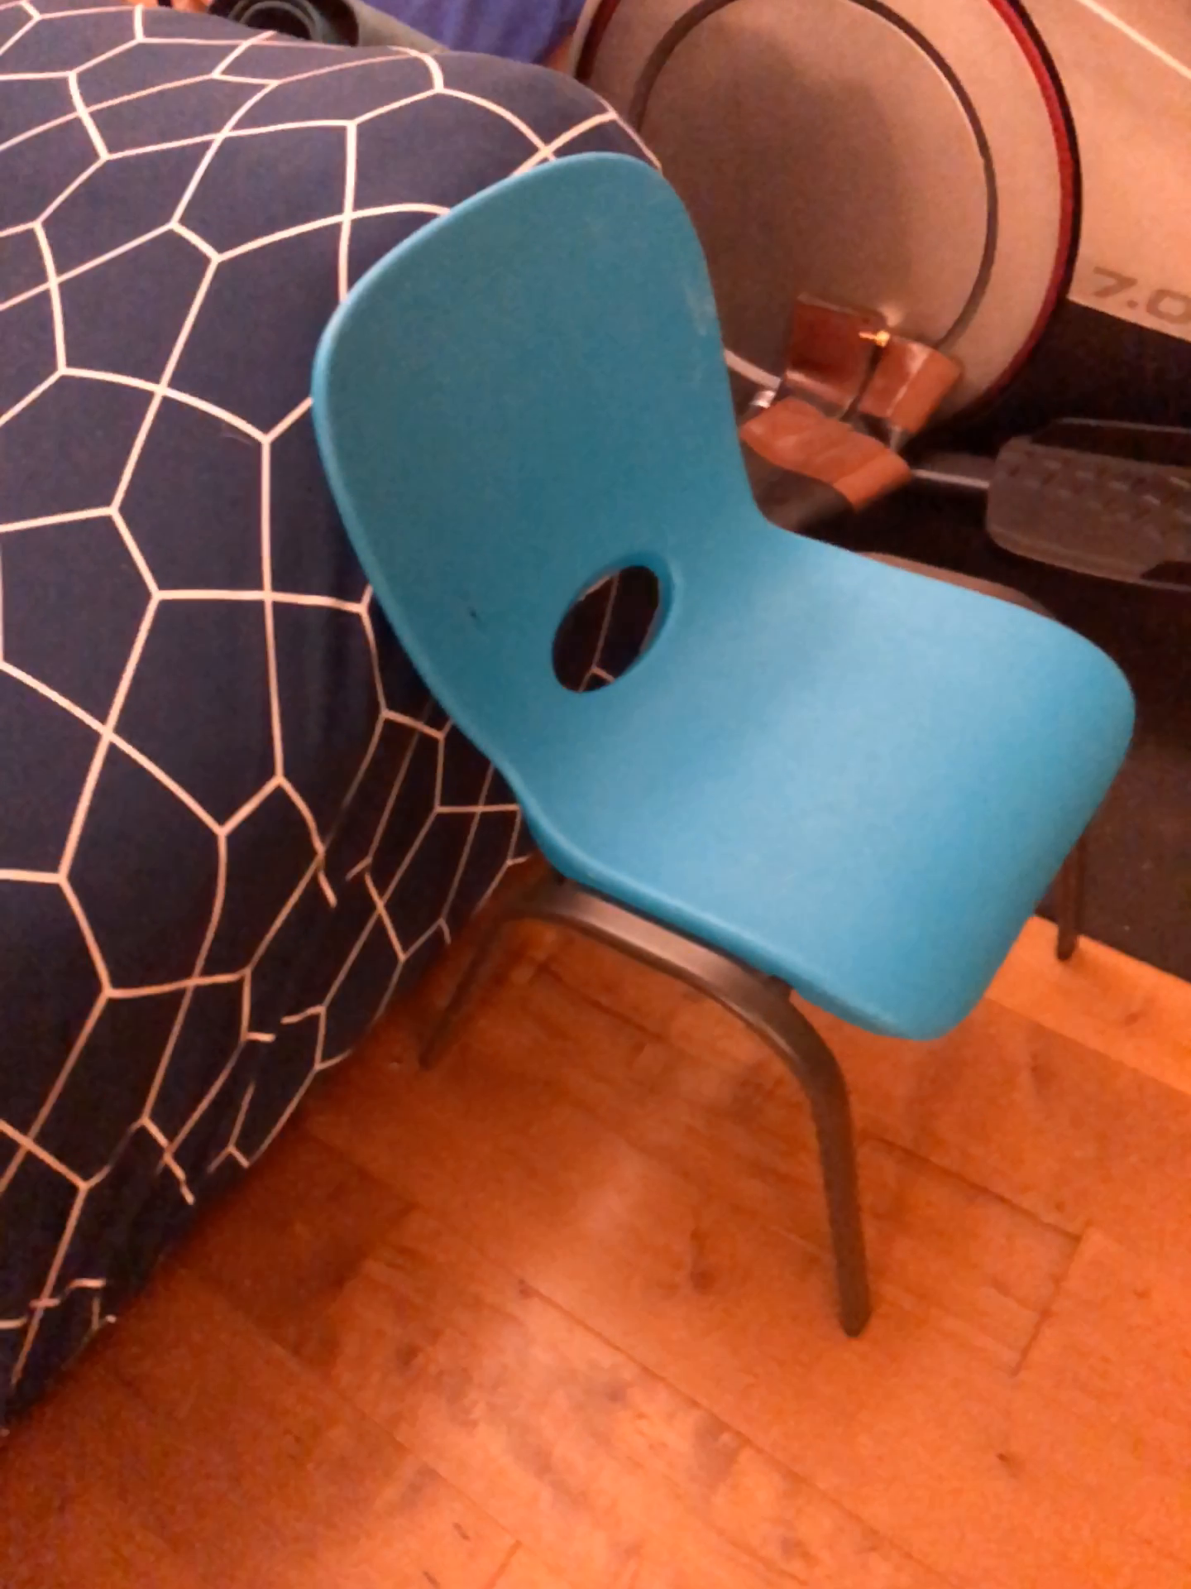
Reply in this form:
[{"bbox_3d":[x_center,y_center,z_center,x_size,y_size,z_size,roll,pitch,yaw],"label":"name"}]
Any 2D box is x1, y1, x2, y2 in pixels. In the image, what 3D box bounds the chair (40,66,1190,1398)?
[{"bbox_3d":[0.079,-0.042,0.762,0.401,0.527,0.431,22,54,26],"label":"chair"}]
